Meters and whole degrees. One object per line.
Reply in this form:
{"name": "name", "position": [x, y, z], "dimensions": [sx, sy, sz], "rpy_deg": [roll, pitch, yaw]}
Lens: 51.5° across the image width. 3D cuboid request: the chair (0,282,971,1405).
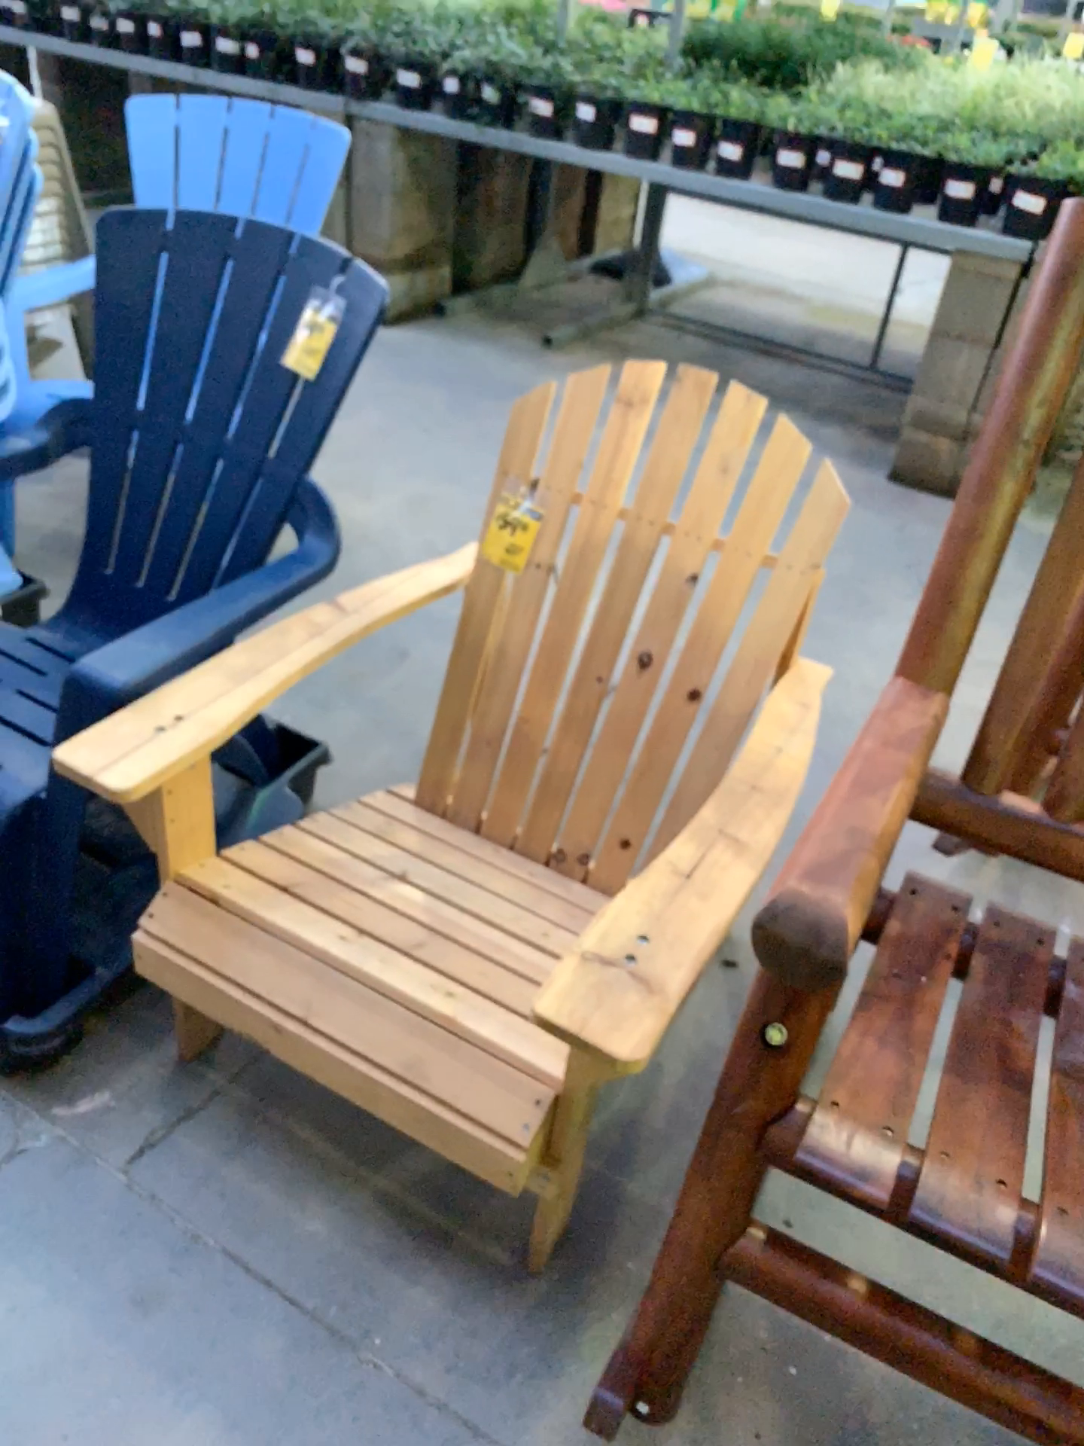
{"name": "chair", "position": [-0.049, 0.053, 1.443], "dimensions": [0.728, 0.886, 0.895], "rpy_deg": [23, 38, 20]}
